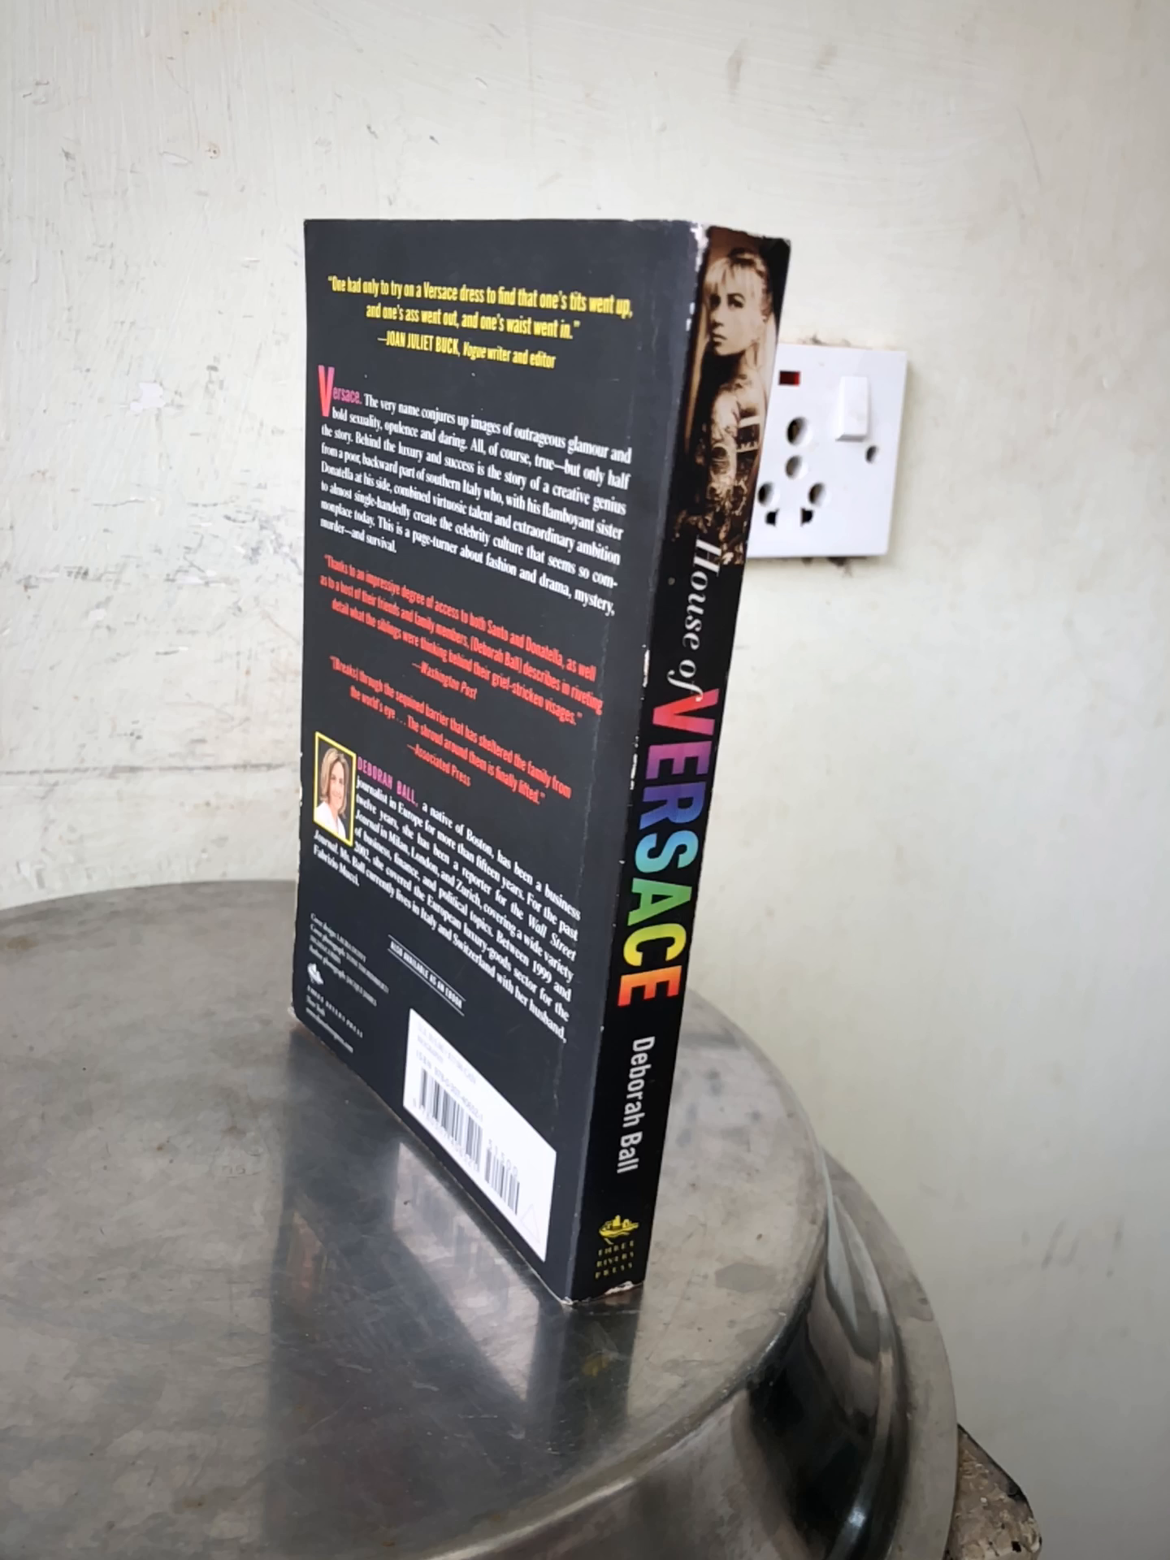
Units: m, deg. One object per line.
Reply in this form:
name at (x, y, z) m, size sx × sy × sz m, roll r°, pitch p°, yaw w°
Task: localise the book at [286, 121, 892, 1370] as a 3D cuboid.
book at (-0.021, -0.018, 0.308) m, size 0.040 × 0.219 × 0.180 m, roll -3°, pitch 17°, yaw -29°
